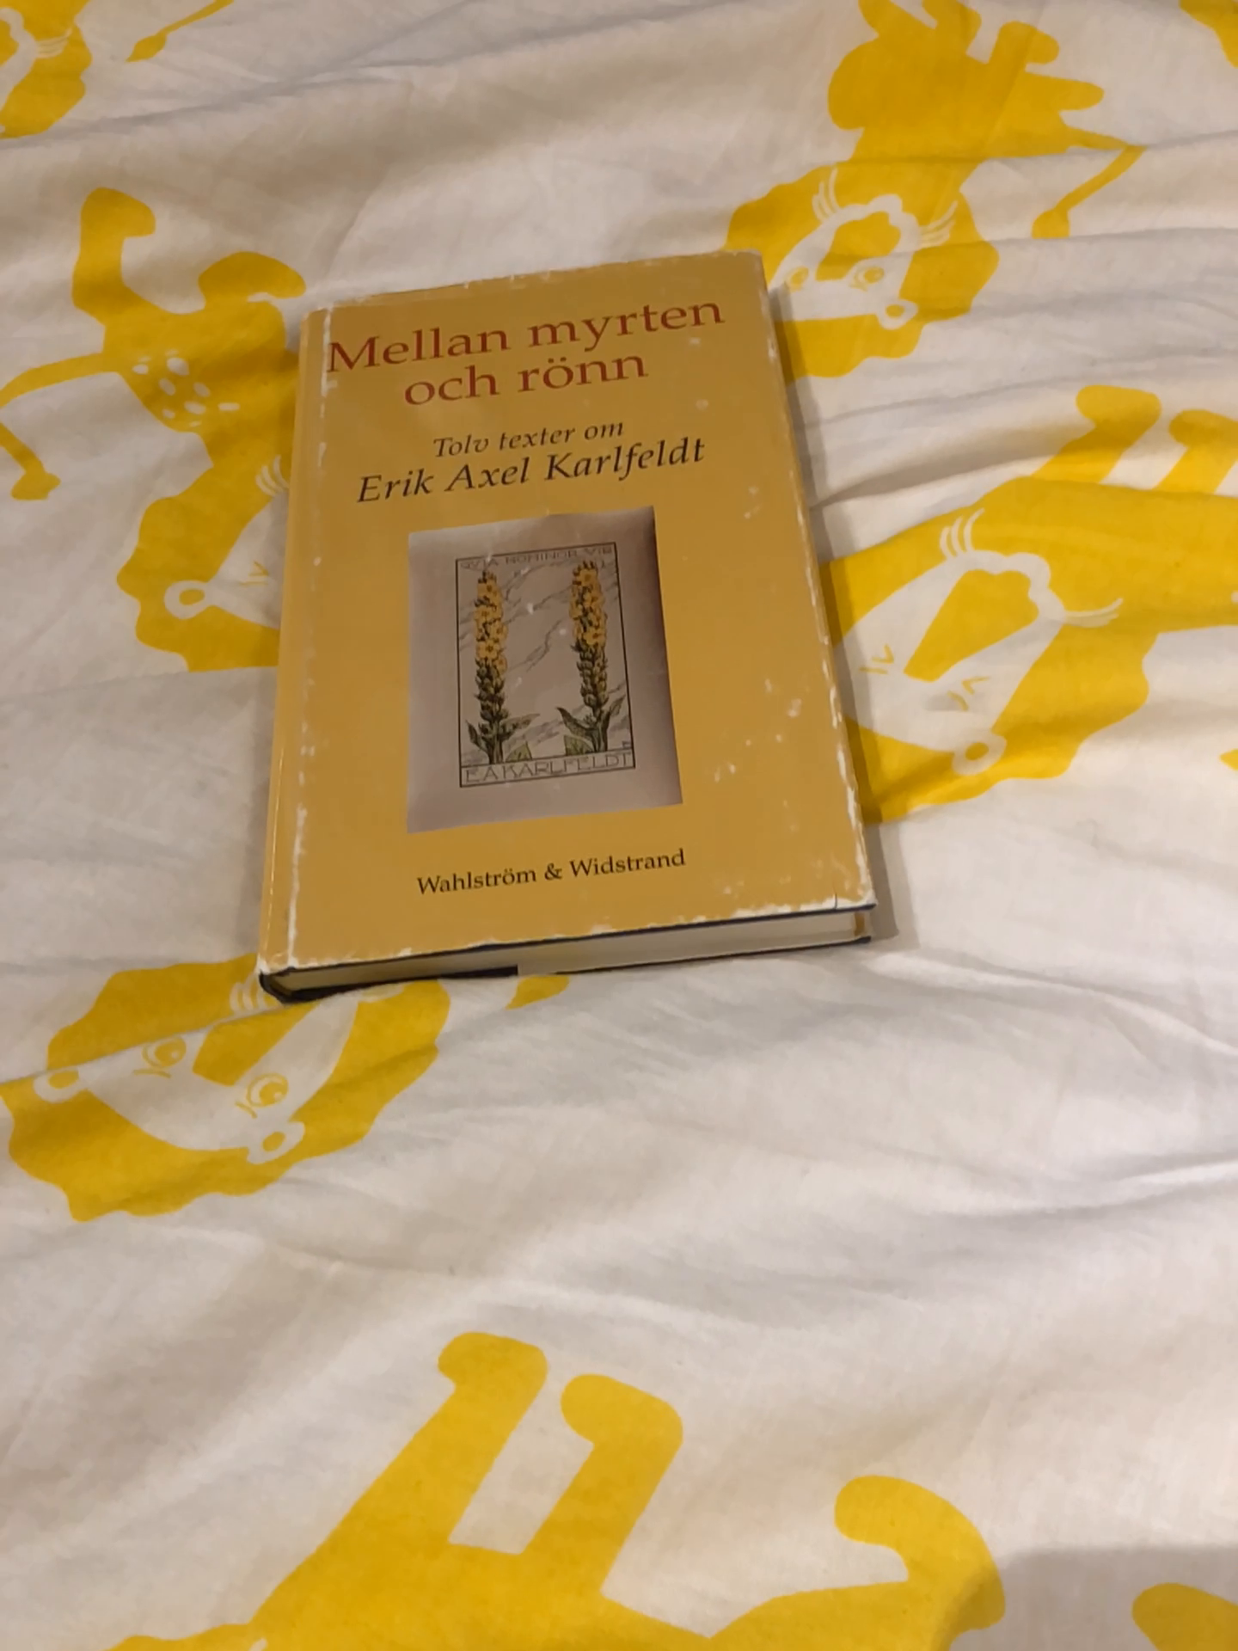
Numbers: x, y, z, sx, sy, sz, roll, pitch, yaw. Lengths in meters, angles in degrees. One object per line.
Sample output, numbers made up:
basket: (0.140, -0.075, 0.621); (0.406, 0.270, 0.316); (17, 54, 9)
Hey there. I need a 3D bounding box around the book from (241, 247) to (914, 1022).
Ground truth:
book: (-0.016, -0.061, 0.356); (0.141, 0.030, 0.215); (-6, 58, 2)
